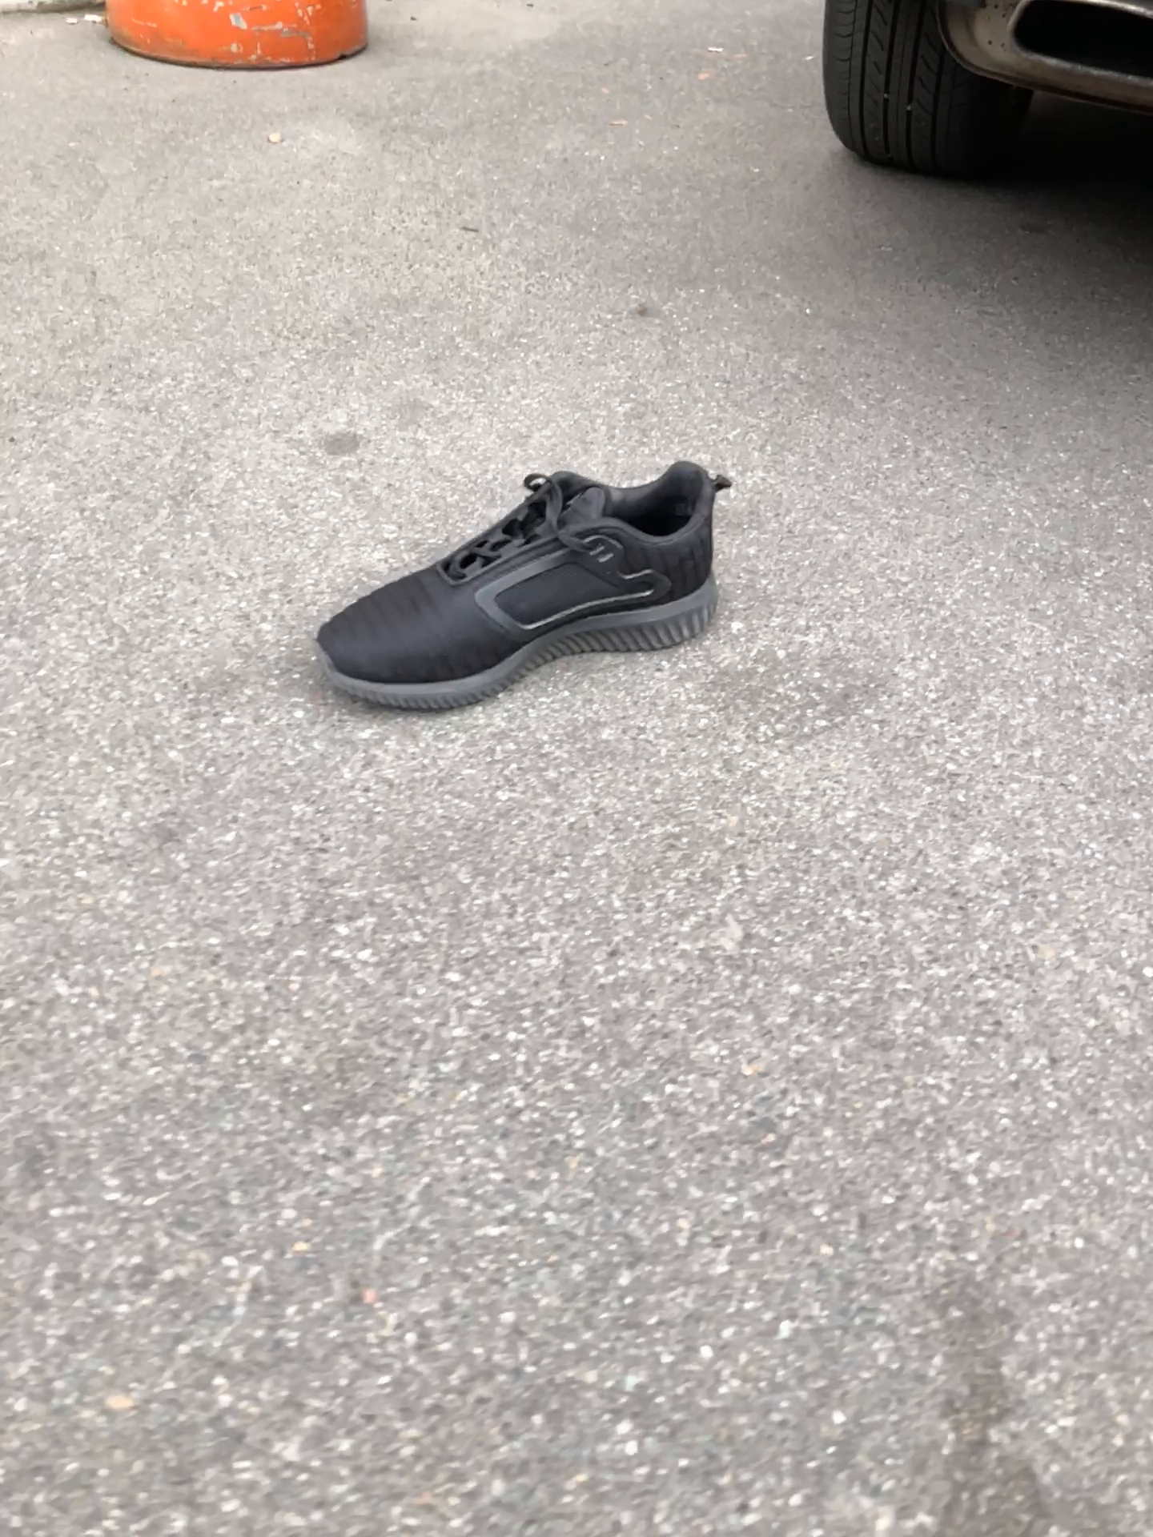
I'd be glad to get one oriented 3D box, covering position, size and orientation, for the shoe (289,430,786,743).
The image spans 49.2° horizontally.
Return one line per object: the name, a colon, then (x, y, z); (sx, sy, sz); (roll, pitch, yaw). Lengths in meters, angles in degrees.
shoe: (-0.024, -0.120, 0.785); (0.281, 0.109, 0.101); (-14, 45, -22)
